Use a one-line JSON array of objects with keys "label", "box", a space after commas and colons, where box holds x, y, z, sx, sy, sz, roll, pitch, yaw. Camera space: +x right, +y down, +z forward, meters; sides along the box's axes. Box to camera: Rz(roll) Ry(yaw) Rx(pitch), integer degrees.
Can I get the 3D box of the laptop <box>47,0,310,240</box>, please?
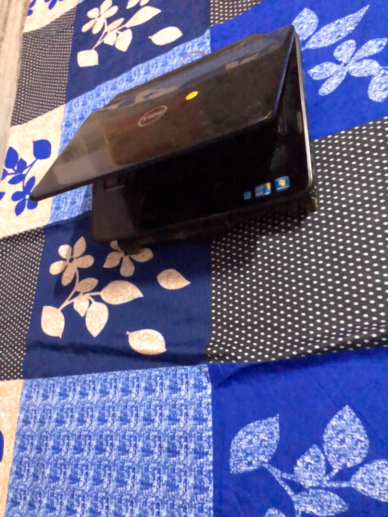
[{"label": "laptop", "box": [-0.040, -0.185, 0.603, 0.362, 0.092, 0.236, -10, 72, 30]}]
